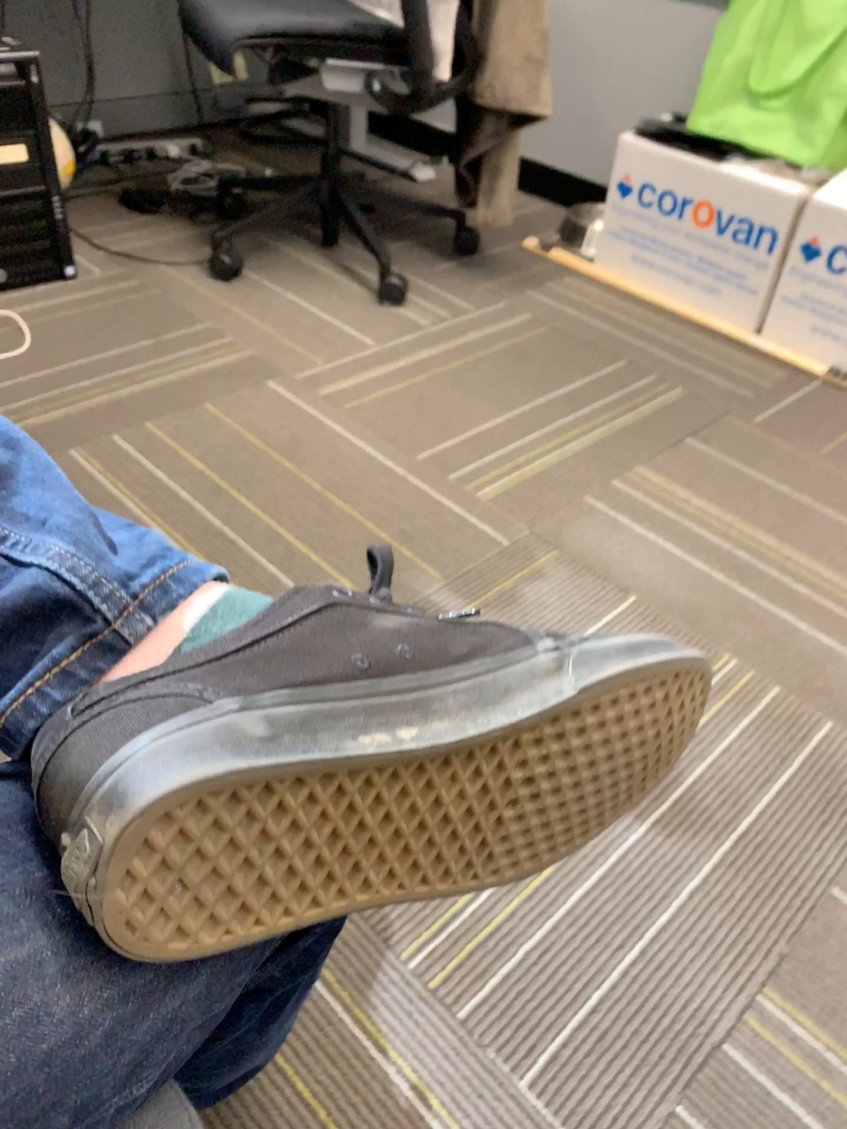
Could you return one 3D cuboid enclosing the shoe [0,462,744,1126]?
[{"bbox_3d":[-0.020,0.067,0.366,0.260,0.120,0.135,-19,37,-27],"label":"shoe"}]
